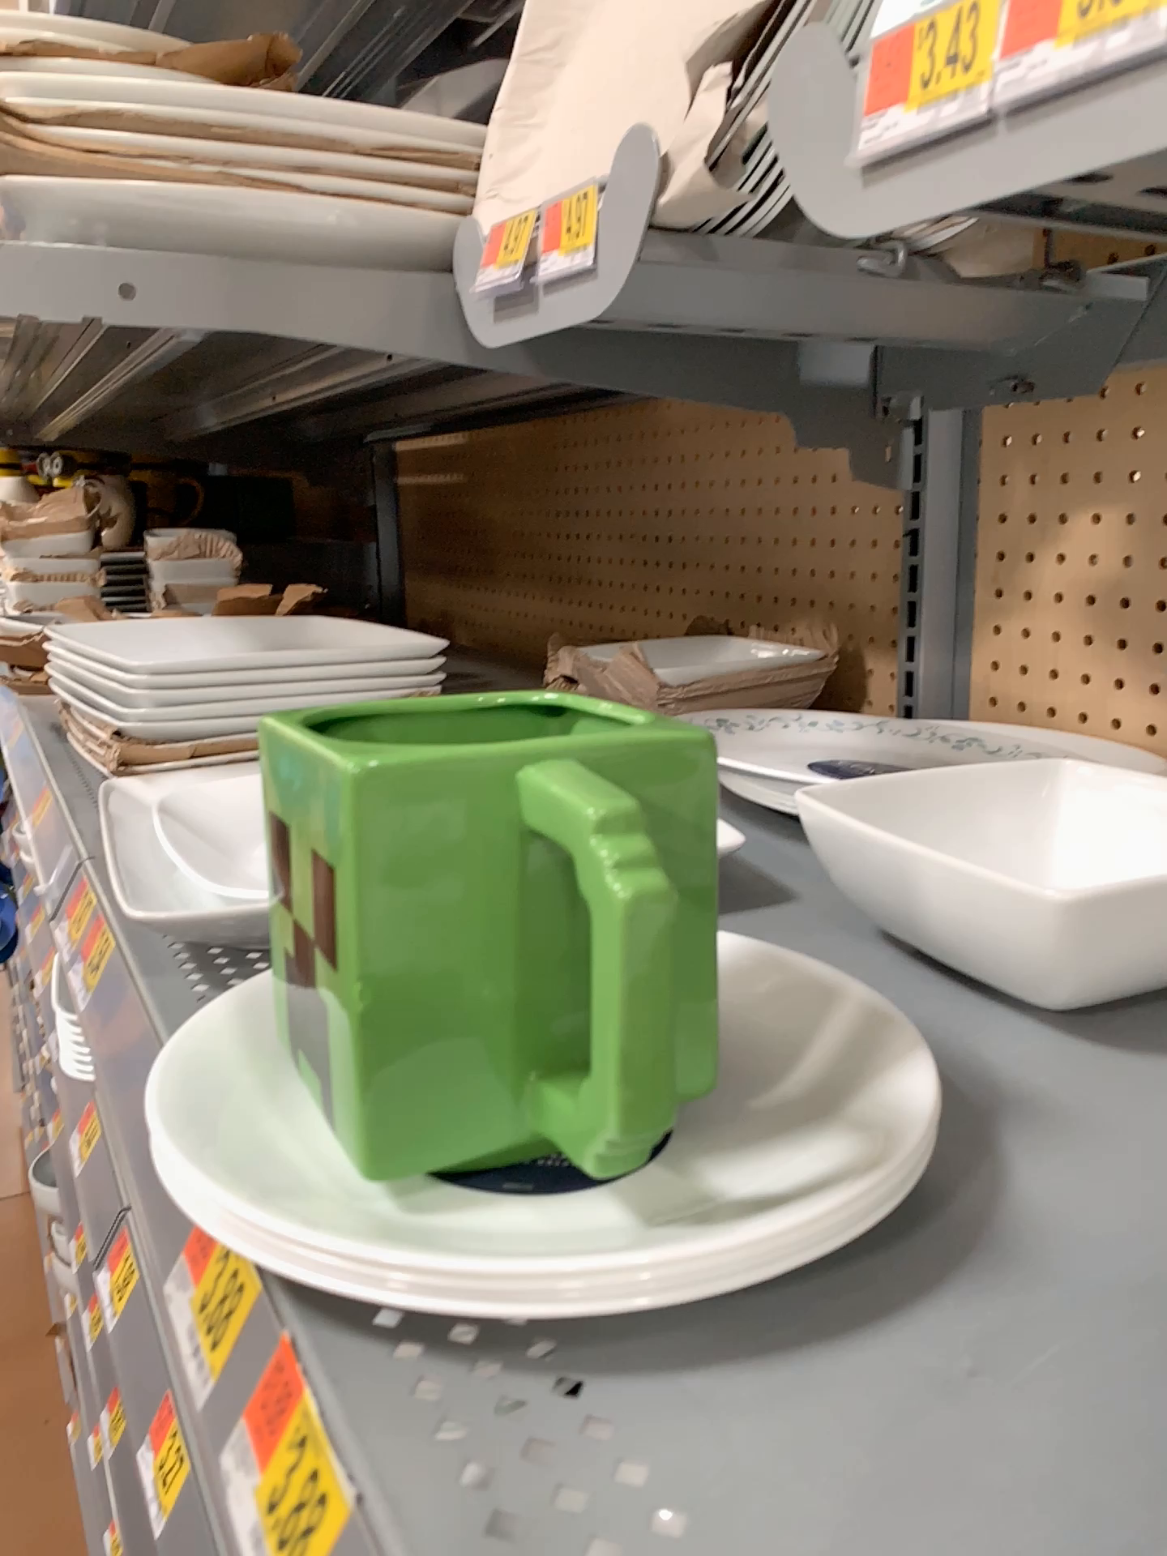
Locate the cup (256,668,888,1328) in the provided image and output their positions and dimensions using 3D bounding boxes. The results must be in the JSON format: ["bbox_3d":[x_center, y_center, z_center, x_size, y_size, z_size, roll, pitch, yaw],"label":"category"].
[{"bbox_3d":[-0.013,0.036,0.304,0.105,0.104,0.142,-7,14,-25],"label":"cup"}]
